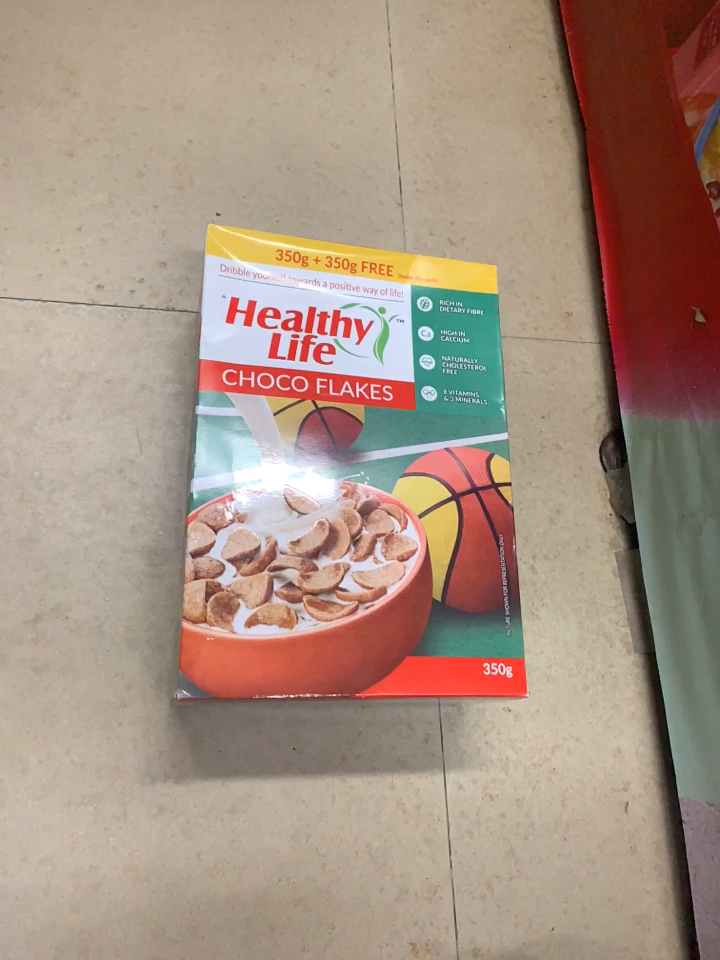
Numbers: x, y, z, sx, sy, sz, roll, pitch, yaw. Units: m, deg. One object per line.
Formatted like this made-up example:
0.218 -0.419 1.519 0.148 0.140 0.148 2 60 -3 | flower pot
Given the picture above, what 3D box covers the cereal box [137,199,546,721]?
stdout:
-0.018 -0.004 0.448 0.200 0.110 0.280 3 71 -13 | cereal box
